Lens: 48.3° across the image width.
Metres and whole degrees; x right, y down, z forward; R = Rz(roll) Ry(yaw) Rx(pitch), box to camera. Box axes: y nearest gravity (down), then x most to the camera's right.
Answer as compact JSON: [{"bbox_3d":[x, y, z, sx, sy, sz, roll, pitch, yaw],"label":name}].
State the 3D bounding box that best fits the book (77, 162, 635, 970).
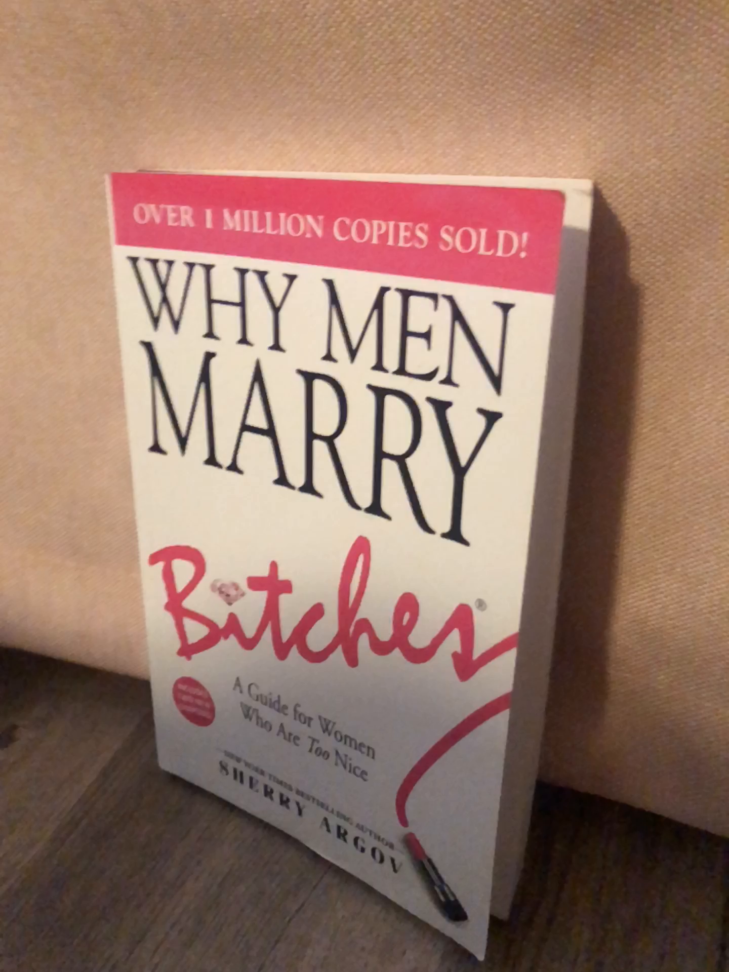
[{"bbox_3d":[-0.013,0.020,0.253,0.150,0.219,0.037,16,27,30],"label":"book"}]
